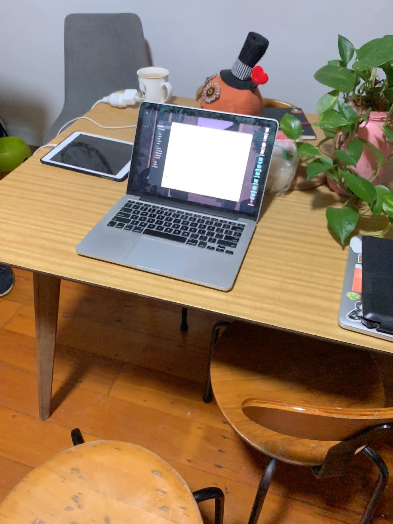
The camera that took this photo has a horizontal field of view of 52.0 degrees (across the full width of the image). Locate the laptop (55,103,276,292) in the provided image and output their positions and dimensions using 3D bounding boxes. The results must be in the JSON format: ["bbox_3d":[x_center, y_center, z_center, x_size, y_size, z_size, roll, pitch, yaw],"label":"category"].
[{"bbox_3d":[-0.030,-0.131,0.679,0.263,0.144,0.288,13,42,15],"label":"laptop"}]
